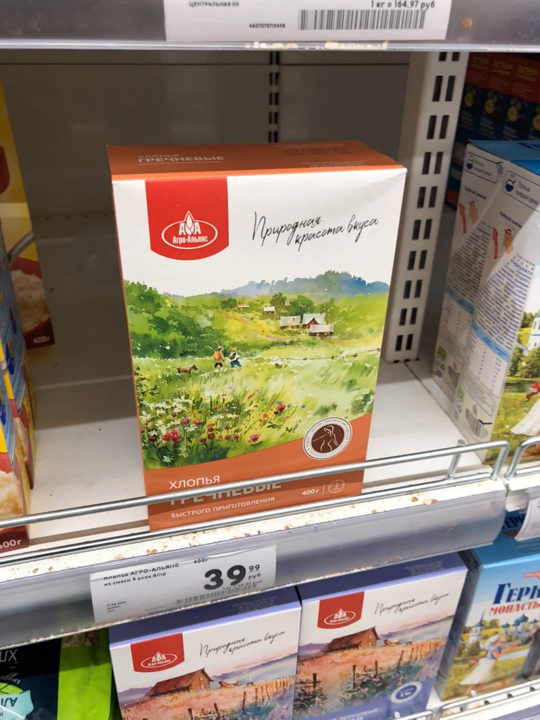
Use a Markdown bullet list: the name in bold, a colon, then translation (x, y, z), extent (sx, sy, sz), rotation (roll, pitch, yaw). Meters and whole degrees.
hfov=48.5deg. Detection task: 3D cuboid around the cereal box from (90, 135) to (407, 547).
- **cereal box**: translation (-0.015, -0.007, 0.315), extent (0.130, 0.199, 0.060), rotation (-6, 31, -14)
